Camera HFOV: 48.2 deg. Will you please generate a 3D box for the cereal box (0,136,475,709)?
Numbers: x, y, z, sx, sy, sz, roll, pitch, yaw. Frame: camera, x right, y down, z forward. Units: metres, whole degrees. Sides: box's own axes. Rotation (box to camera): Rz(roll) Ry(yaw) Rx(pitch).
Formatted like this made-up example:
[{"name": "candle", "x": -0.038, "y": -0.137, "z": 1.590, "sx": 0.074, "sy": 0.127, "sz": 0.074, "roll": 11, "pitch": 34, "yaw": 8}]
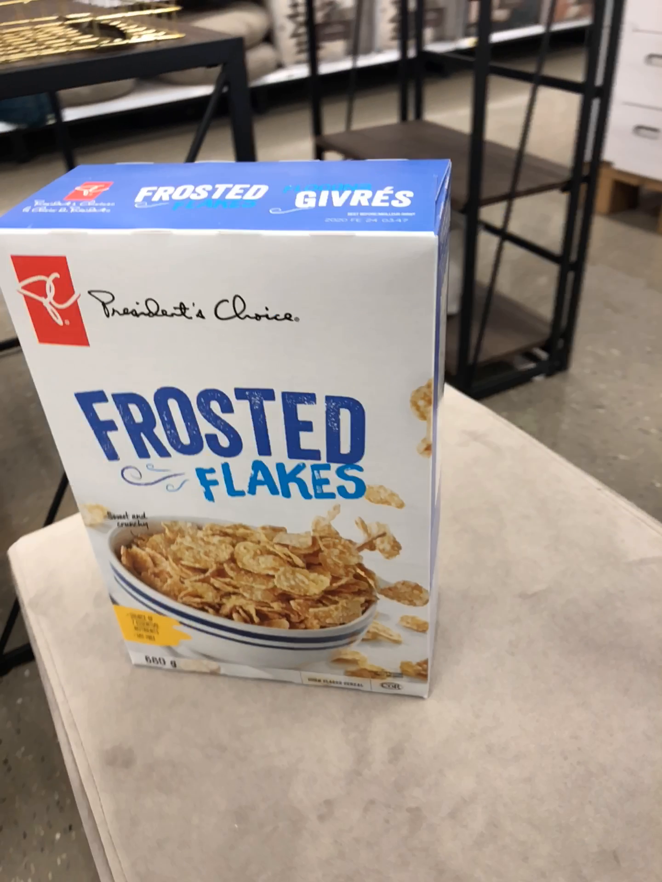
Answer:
[{"name": "cereal box", "x": -0.033, "y": 0.002, "z": 0.398, "sx": 0.200, "sy": 0.289, "sz": 0.100, "roll": 3, "pitch": 36, "yaw": 10}]
